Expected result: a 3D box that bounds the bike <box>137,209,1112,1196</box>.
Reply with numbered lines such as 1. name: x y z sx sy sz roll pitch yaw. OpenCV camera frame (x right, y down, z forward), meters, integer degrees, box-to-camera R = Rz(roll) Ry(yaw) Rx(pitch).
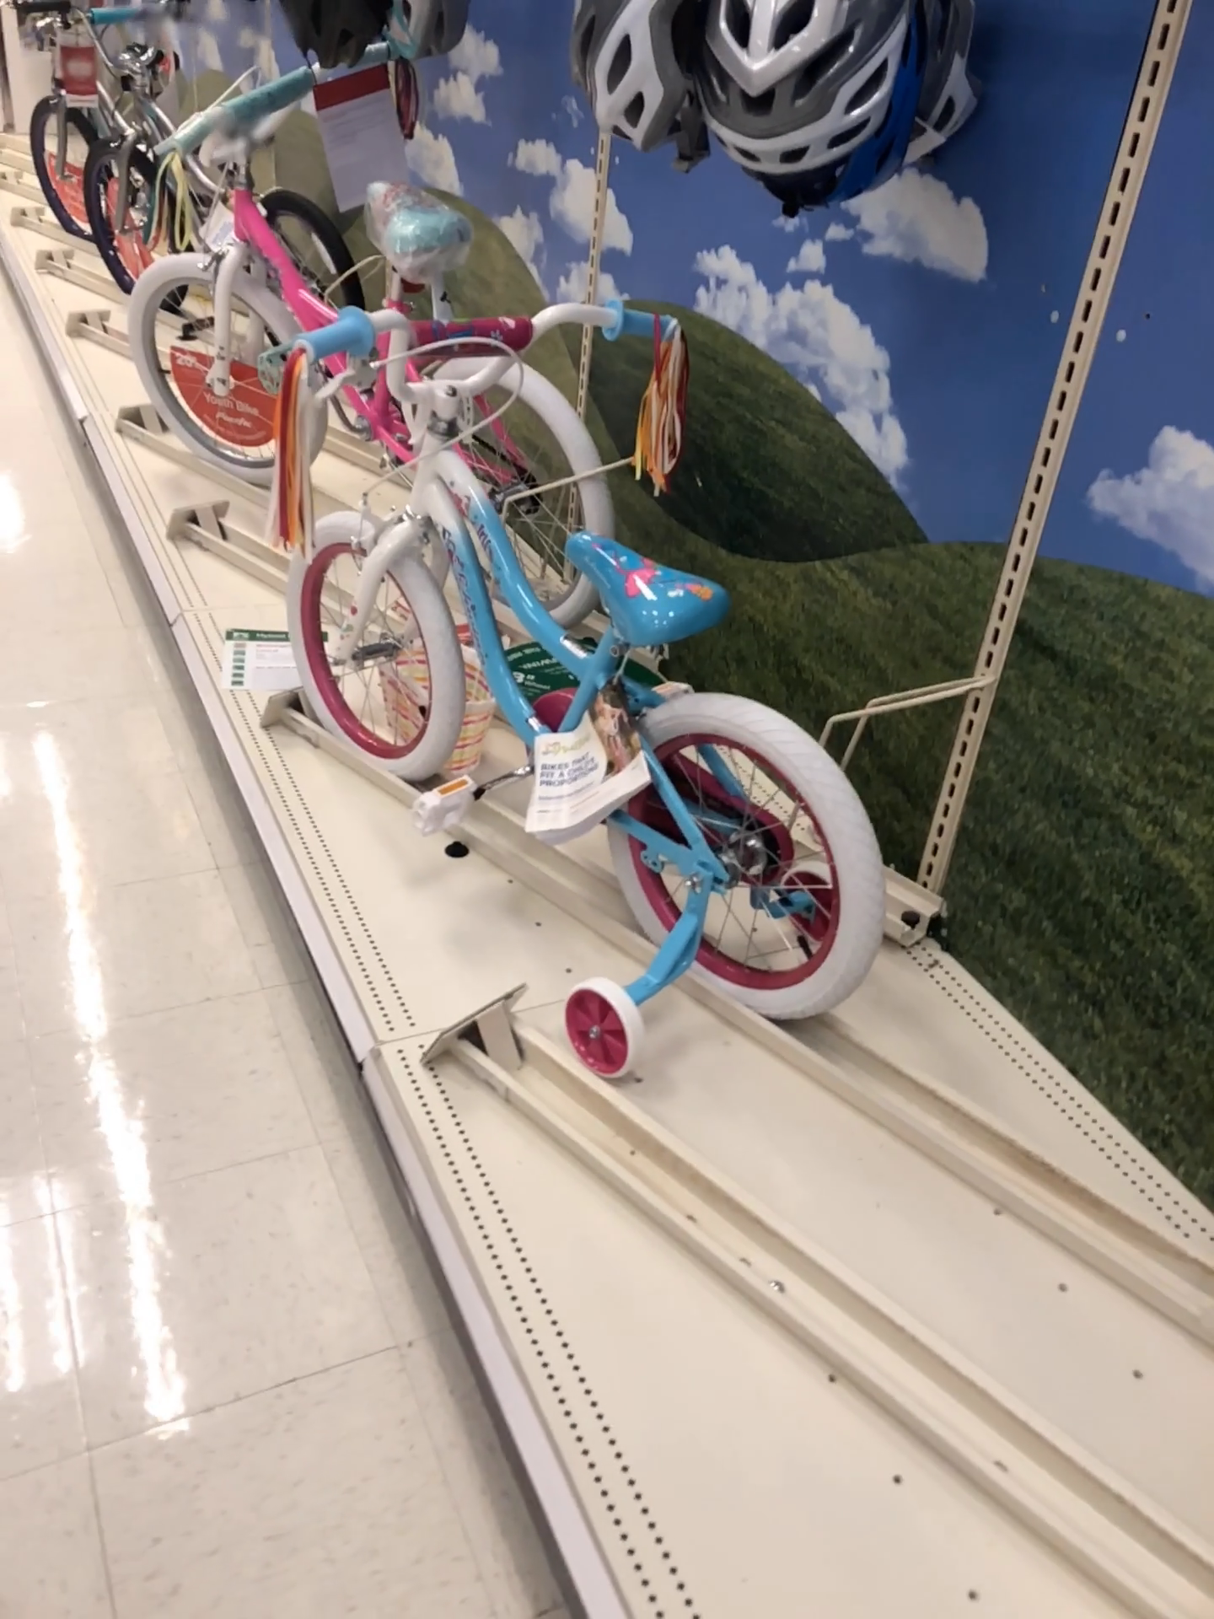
1. bike: -0.057 -0.246 1.683 1.093 0.723 0.534 32 40 32
